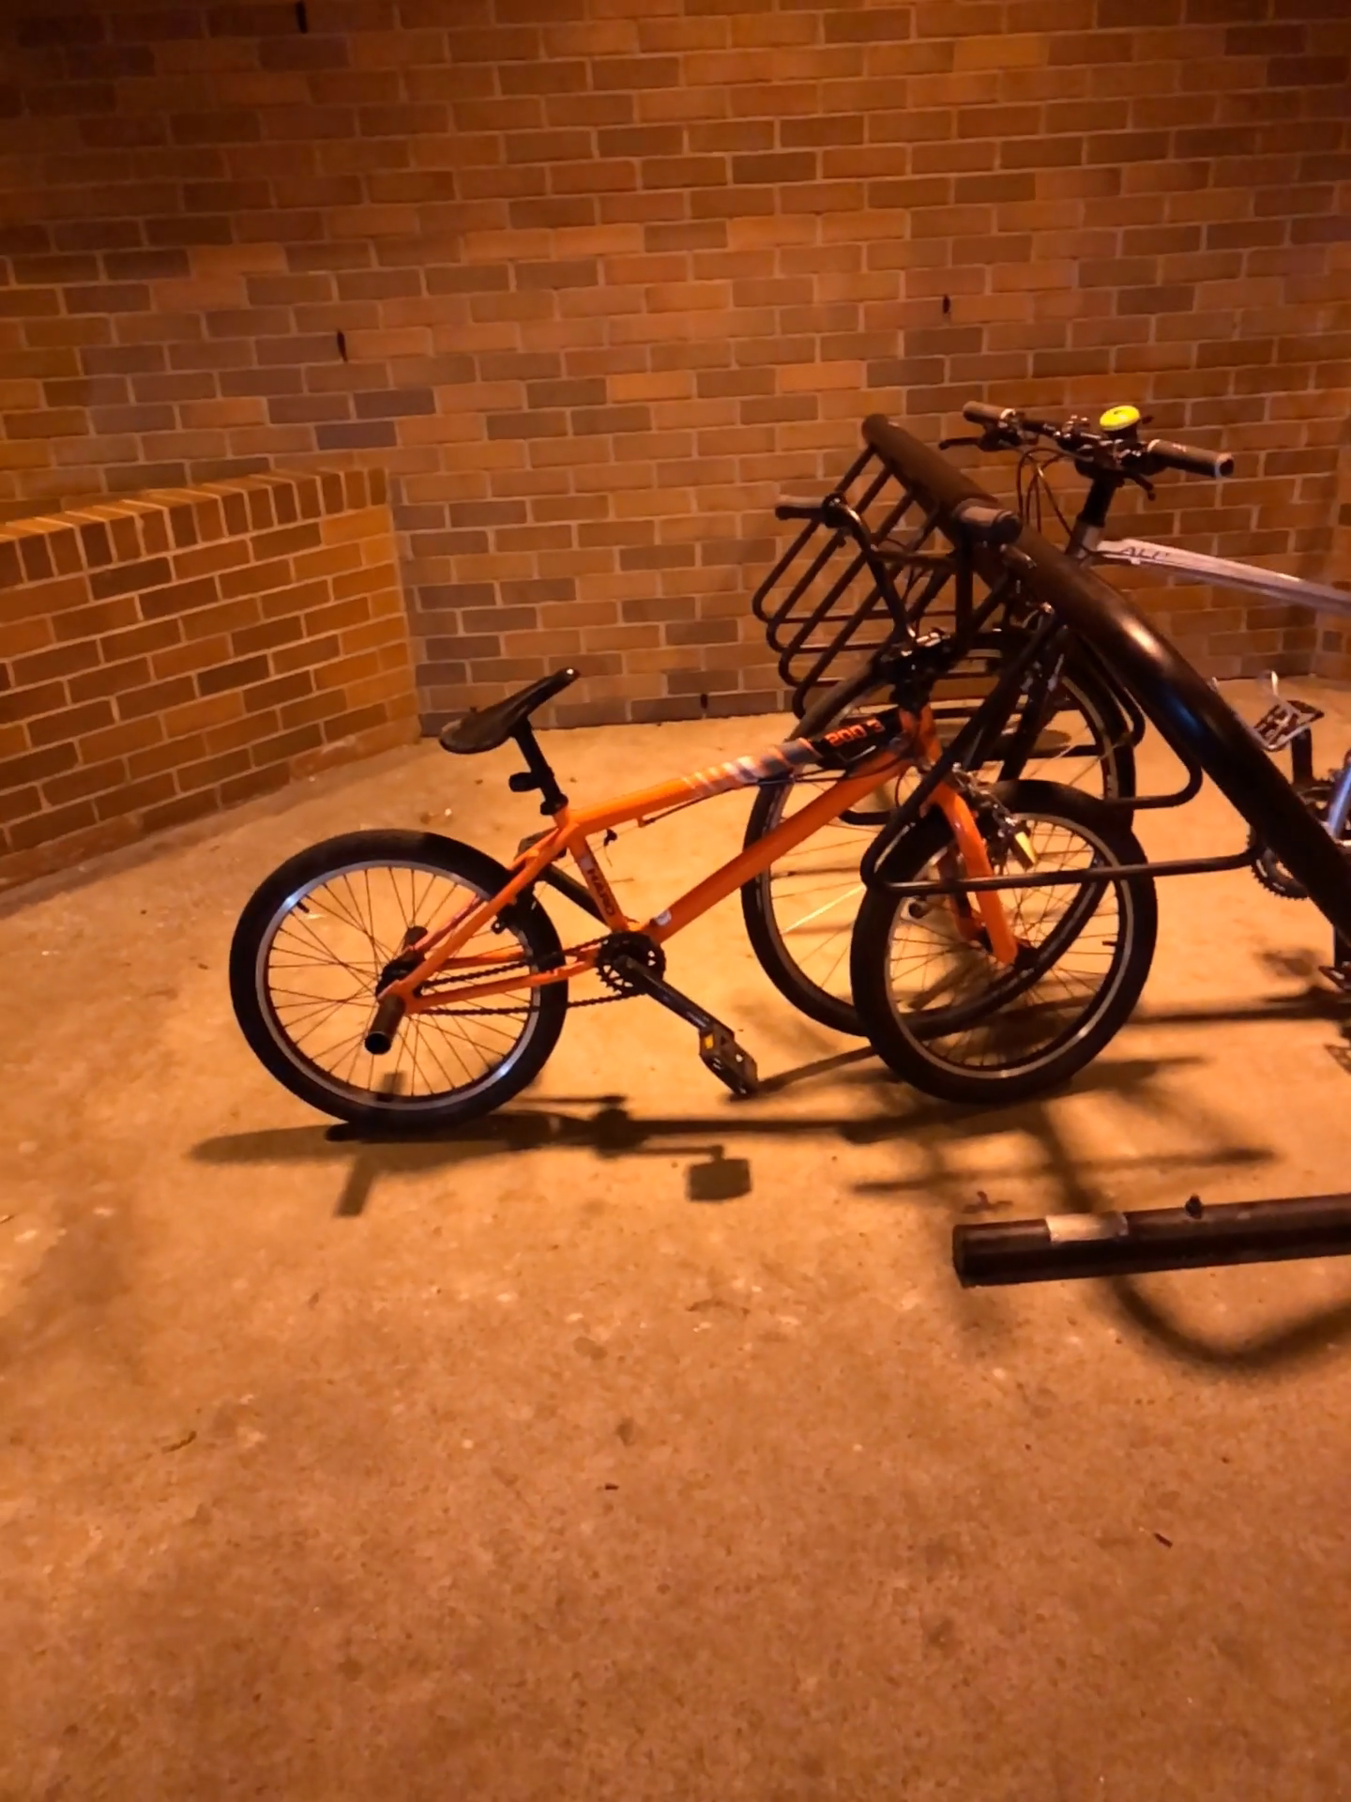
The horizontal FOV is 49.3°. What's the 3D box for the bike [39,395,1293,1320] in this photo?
[{"bbox_3d":[0.003,-0.110,2.038,1.289,0.927,0.748,-5,25,-1],"label":"bike"}]
